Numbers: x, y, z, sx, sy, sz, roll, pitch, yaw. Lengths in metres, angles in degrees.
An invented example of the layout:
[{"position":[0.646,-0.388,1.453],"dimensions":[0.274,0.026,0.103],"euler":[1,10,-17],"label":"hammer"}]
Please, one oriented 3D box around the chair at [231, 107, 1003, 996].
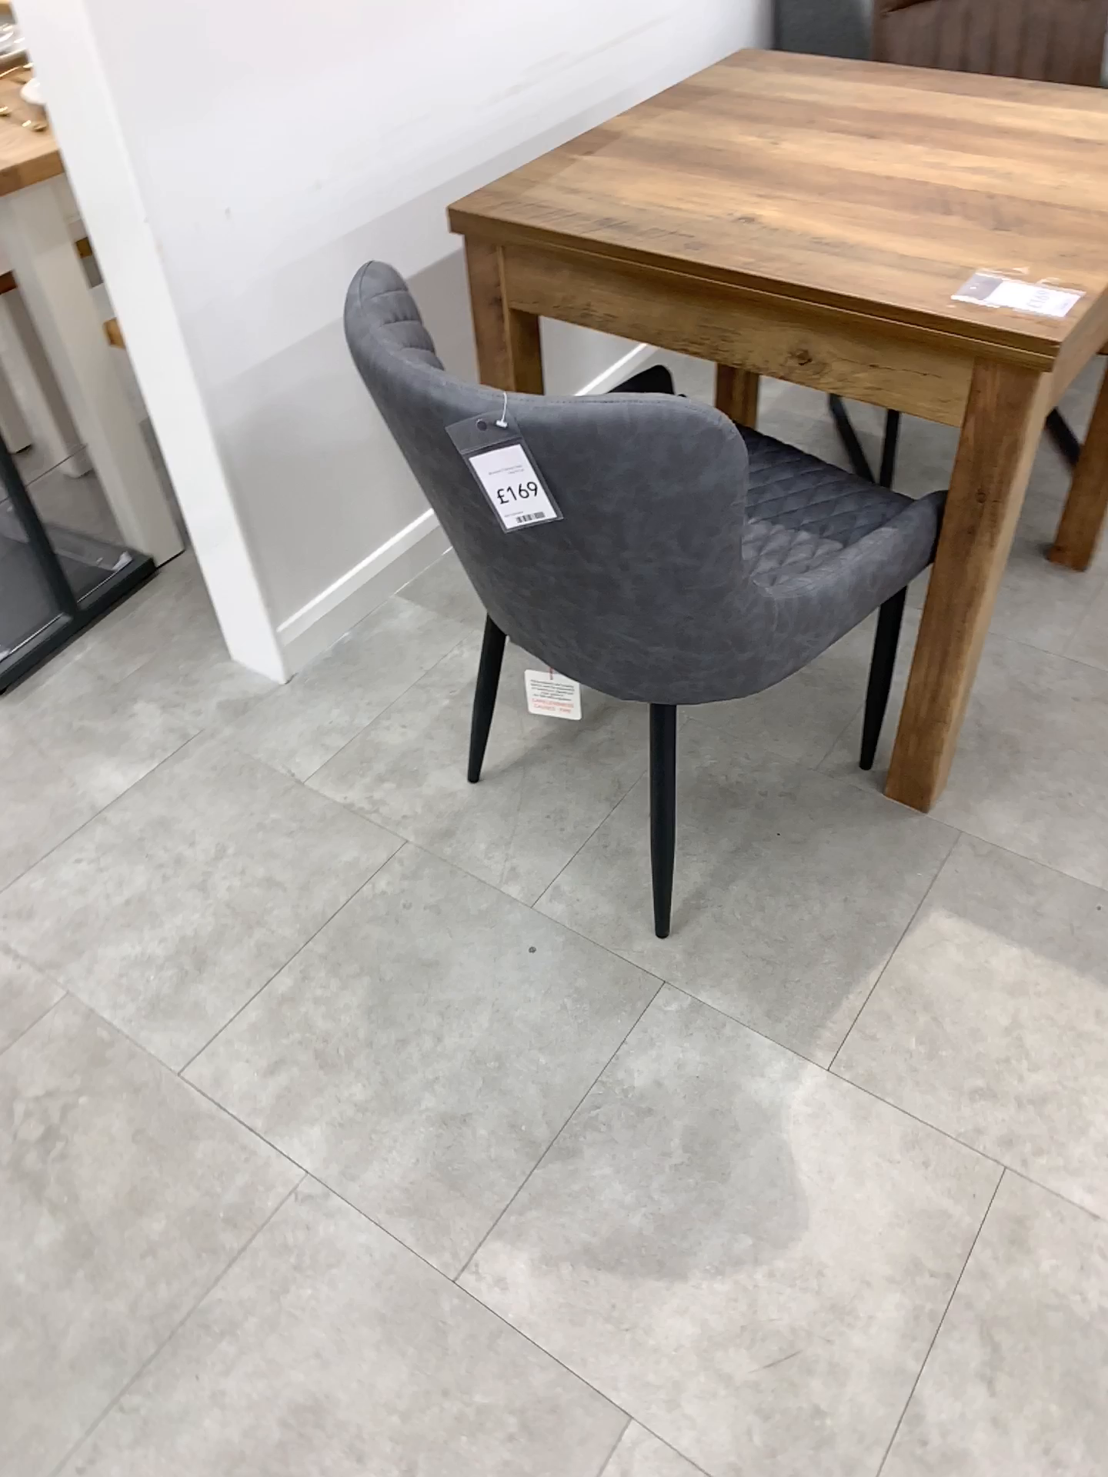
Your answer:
[{"position":[0.083,-0.231,1.384],"dimensions":[0.552,0.775,0.530],"euler":[-37,52,-28],"label":"chair"}]
